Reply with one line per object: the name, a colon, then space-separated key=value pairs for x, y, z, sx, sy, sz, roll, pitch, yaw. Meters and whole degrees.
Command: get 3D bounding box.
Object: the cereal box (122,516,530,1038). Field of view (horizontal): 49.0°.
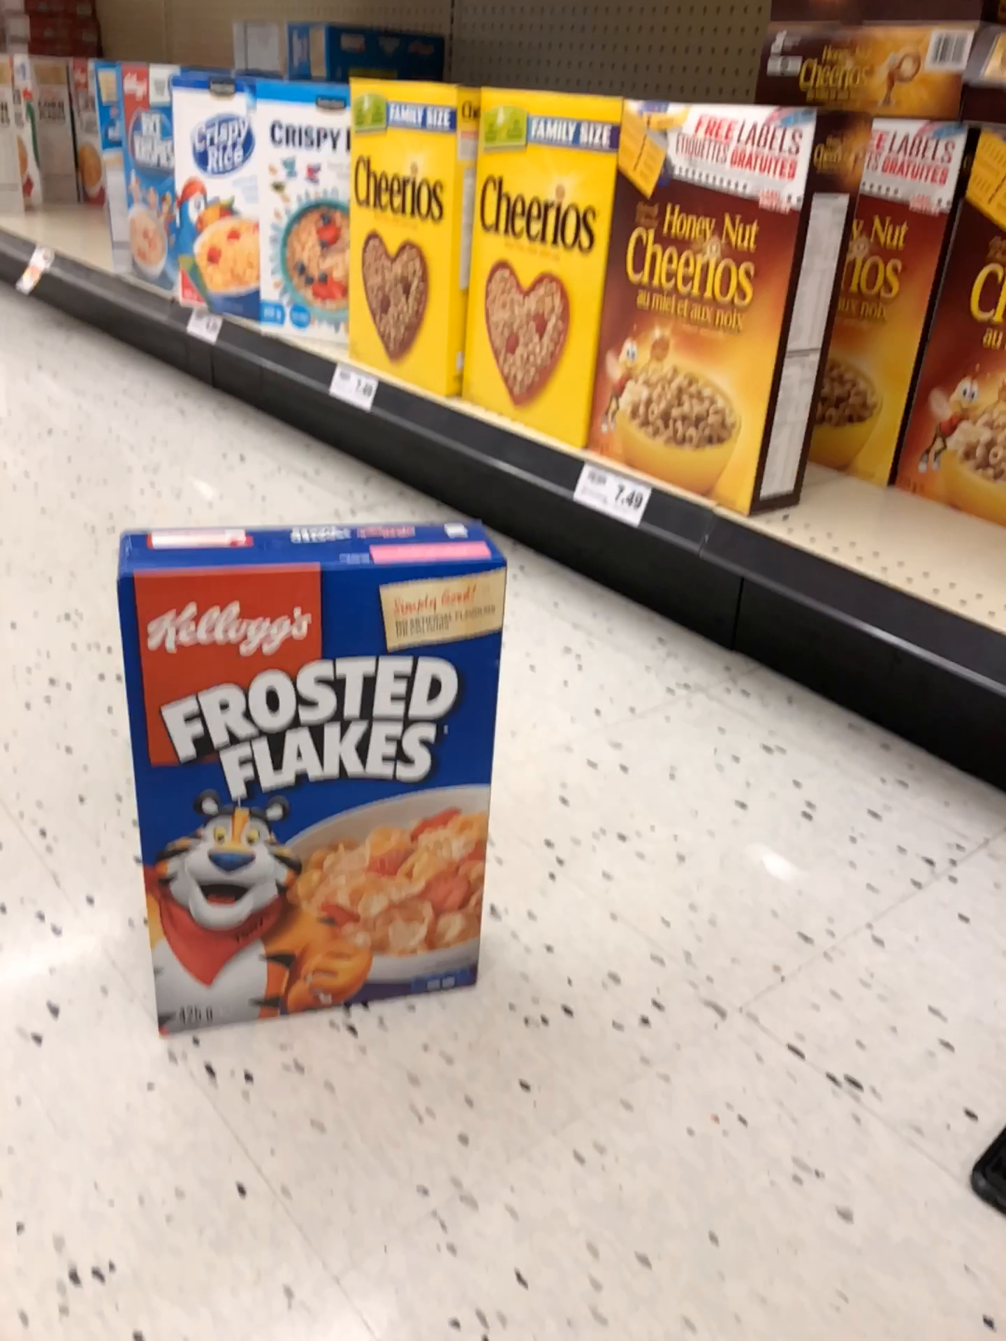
cereal box: x=-0.103 y=0.063 z=0.637 sx=0.200 sy=0.288 sz=0.070 roll=-4 pitch=28 yaw=-17
